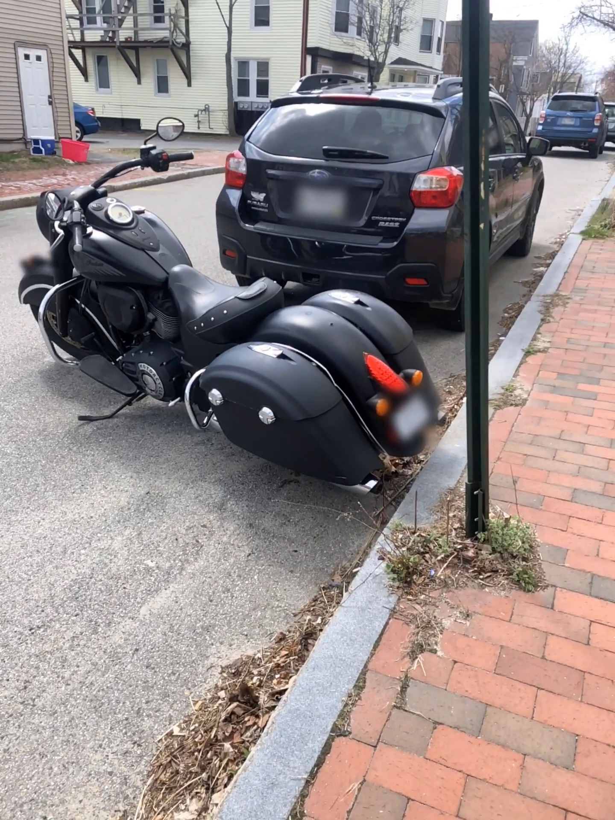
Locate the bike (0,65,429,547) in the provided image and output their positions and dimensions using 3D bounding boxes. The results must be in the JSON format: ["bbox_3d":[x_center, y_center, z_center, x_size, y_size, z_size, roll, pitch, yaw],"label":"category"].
[{"bbox_3d":[-0.429,-0.444,2.465,1.525,1.142,0.548,20,28,20],"label":"bike"}]
